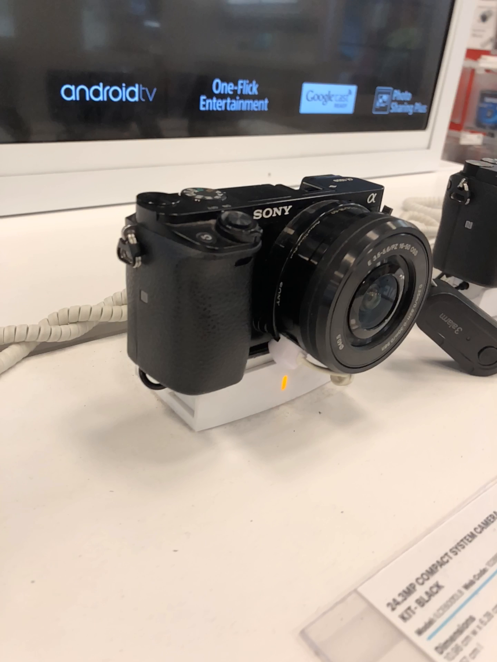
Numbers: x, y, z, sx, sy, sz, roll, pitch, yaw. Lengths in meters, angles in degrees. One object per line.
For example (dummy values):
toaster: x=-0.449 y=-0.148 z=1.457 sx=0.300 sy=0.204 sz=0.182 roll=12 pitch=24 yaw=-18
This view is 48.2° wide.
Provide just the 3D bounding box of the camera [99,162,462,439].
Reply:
camera: x=0.015 y=-0.024 z=0.233 sx=0.130 sy=0.070 sz=0.070 roll=-18 pitch=35 yaw=-37
